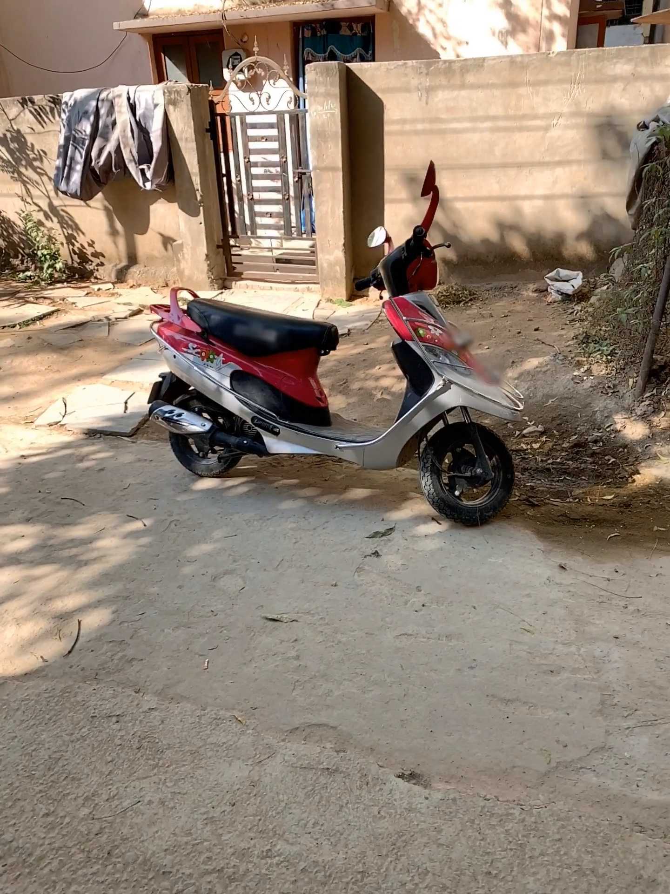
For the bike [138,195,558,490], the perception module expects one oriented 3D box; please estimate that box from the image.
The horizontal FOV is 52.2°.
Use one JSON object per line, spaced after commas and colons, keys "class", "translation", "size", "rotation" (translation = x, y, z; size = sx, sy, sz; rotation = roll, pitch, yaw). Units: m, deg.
{"class": "bike", "translation": [0.065, -0.446, 2.877], "size": [1.495, 1.037, 0.486], "rotation": [5, 27, 18]}
